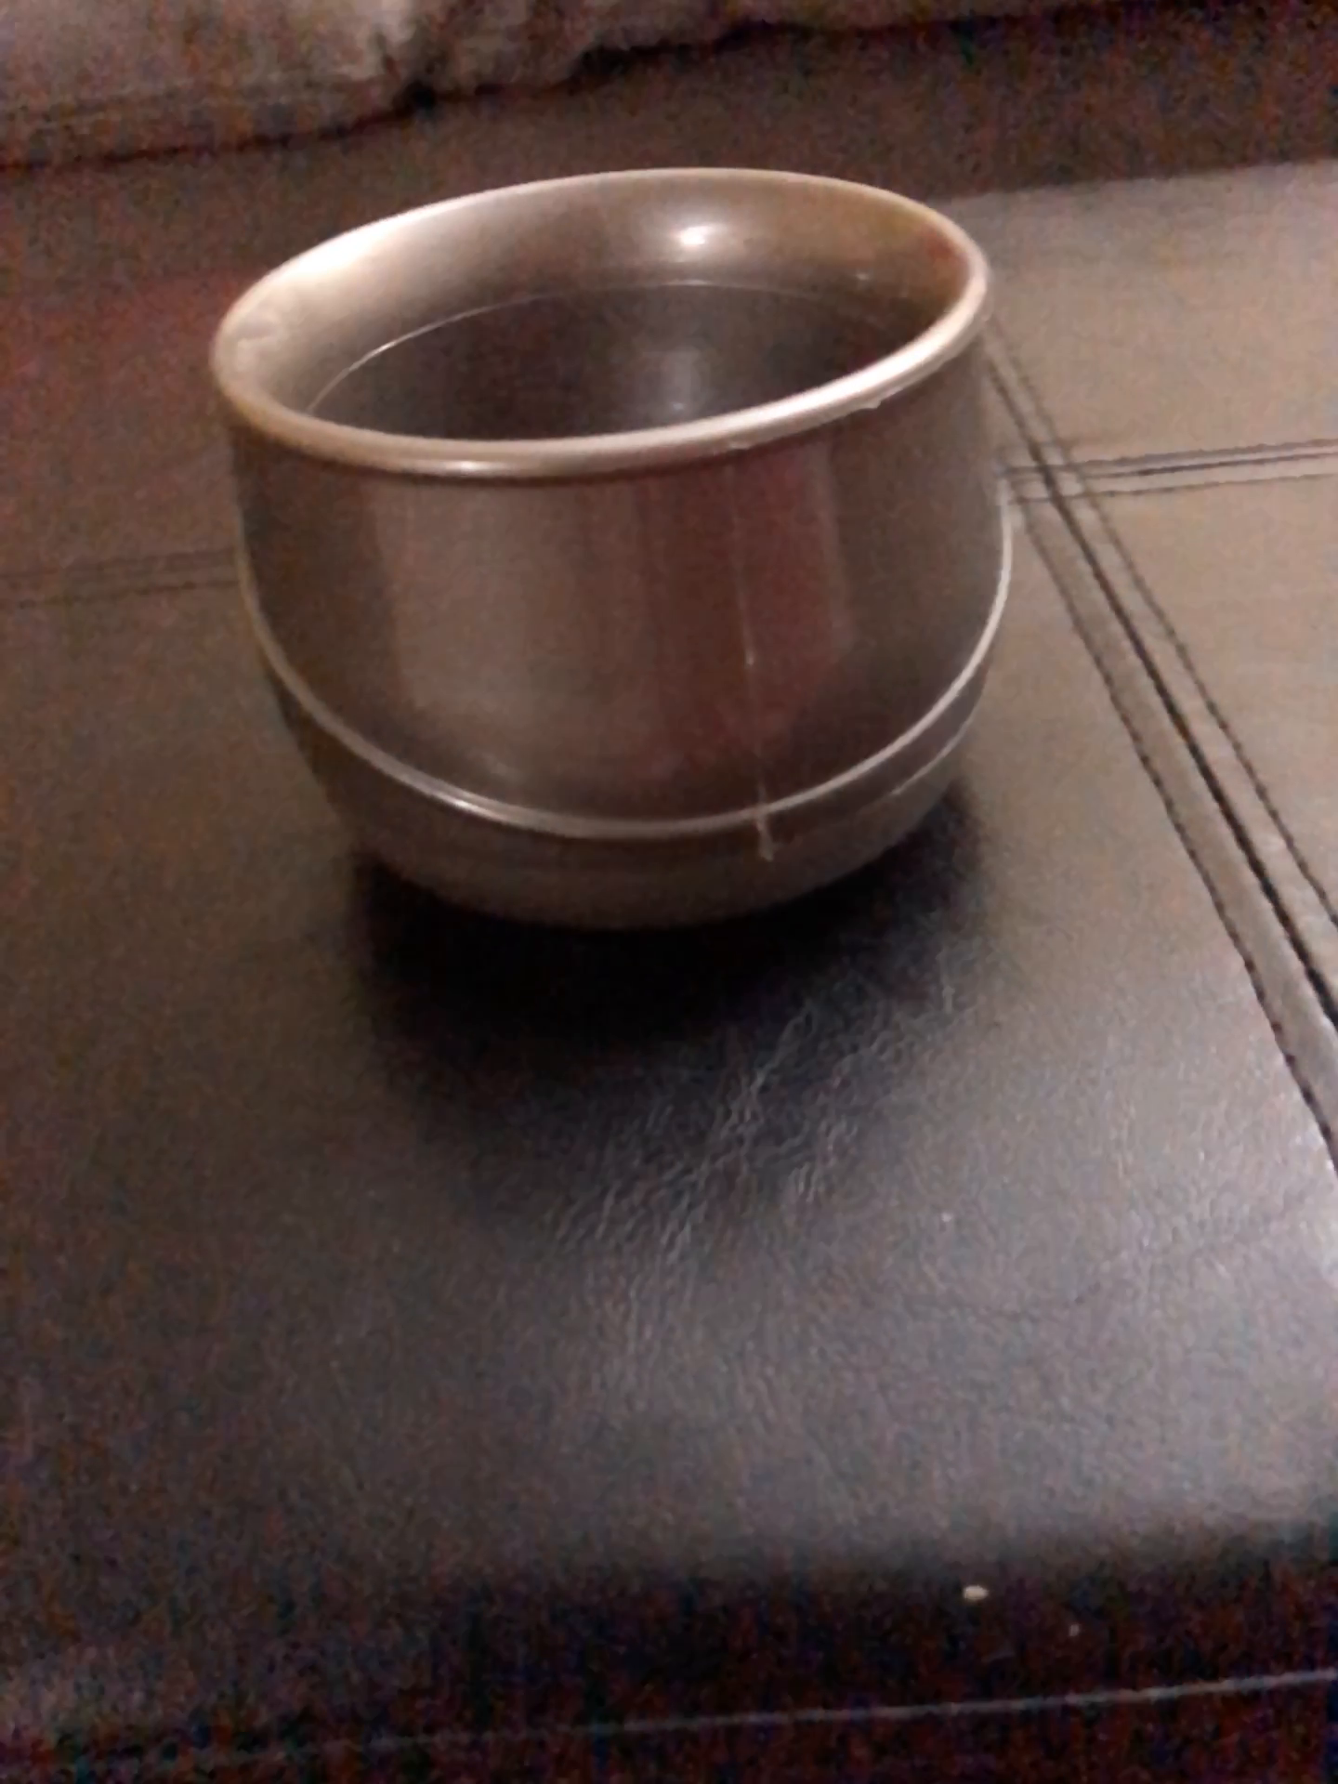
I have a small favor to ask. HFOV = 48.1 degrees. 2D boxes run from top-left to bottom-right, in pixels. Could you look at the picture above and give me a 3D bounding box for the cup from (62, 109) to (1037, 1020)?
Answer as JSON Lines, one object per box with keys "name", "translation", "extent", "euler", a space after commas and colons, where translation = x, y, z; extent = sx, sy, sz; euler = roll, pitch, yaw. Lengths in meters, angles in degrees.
{"name": "cup", "translation": [-0.002, -0.044, 0.179], "extent": [0.083, 0.066, 0.091], "euler": [-3, 41, 3]}
